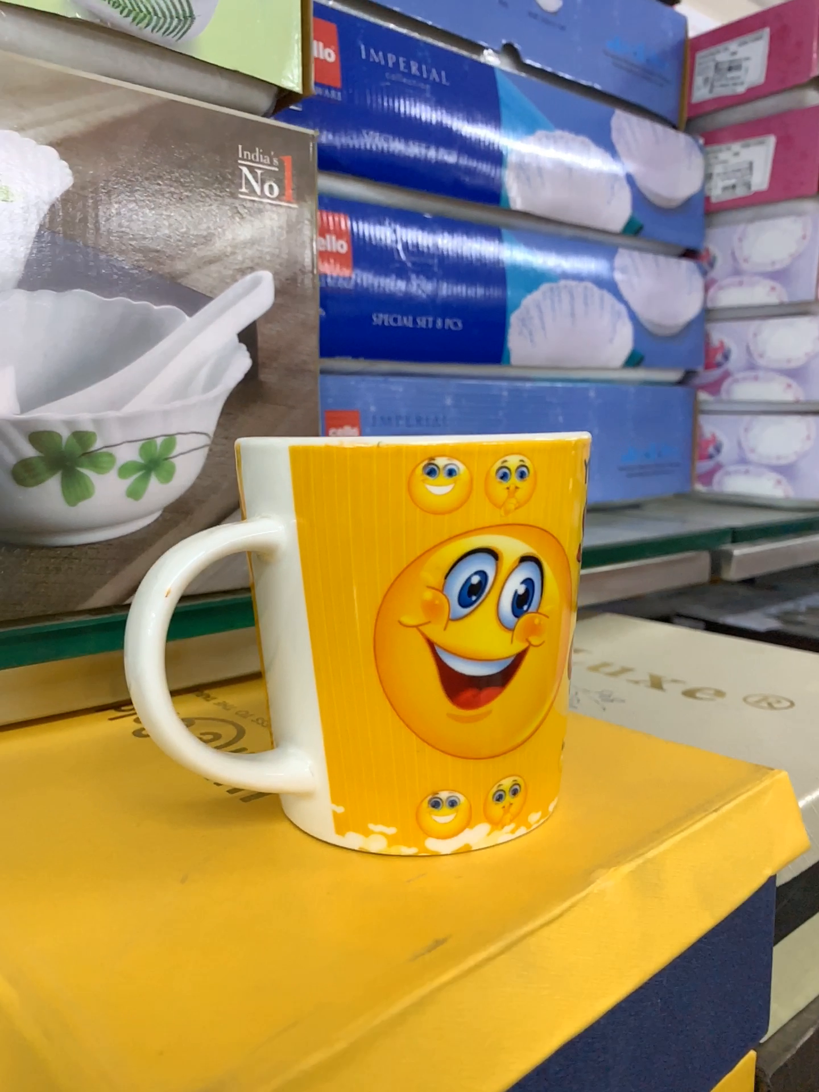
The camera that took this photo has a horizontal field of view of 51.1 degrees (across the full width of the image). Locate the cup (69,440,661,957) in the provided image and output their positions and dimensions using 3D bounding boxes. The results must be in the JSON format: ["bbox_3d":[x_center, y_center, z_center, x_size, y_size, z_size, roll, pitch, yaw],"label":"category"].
[{"bbox_3d":[-0.012,0.021,0.206,0.120,0.090,0.070,-3,9,-28],"label":"cup"}]
